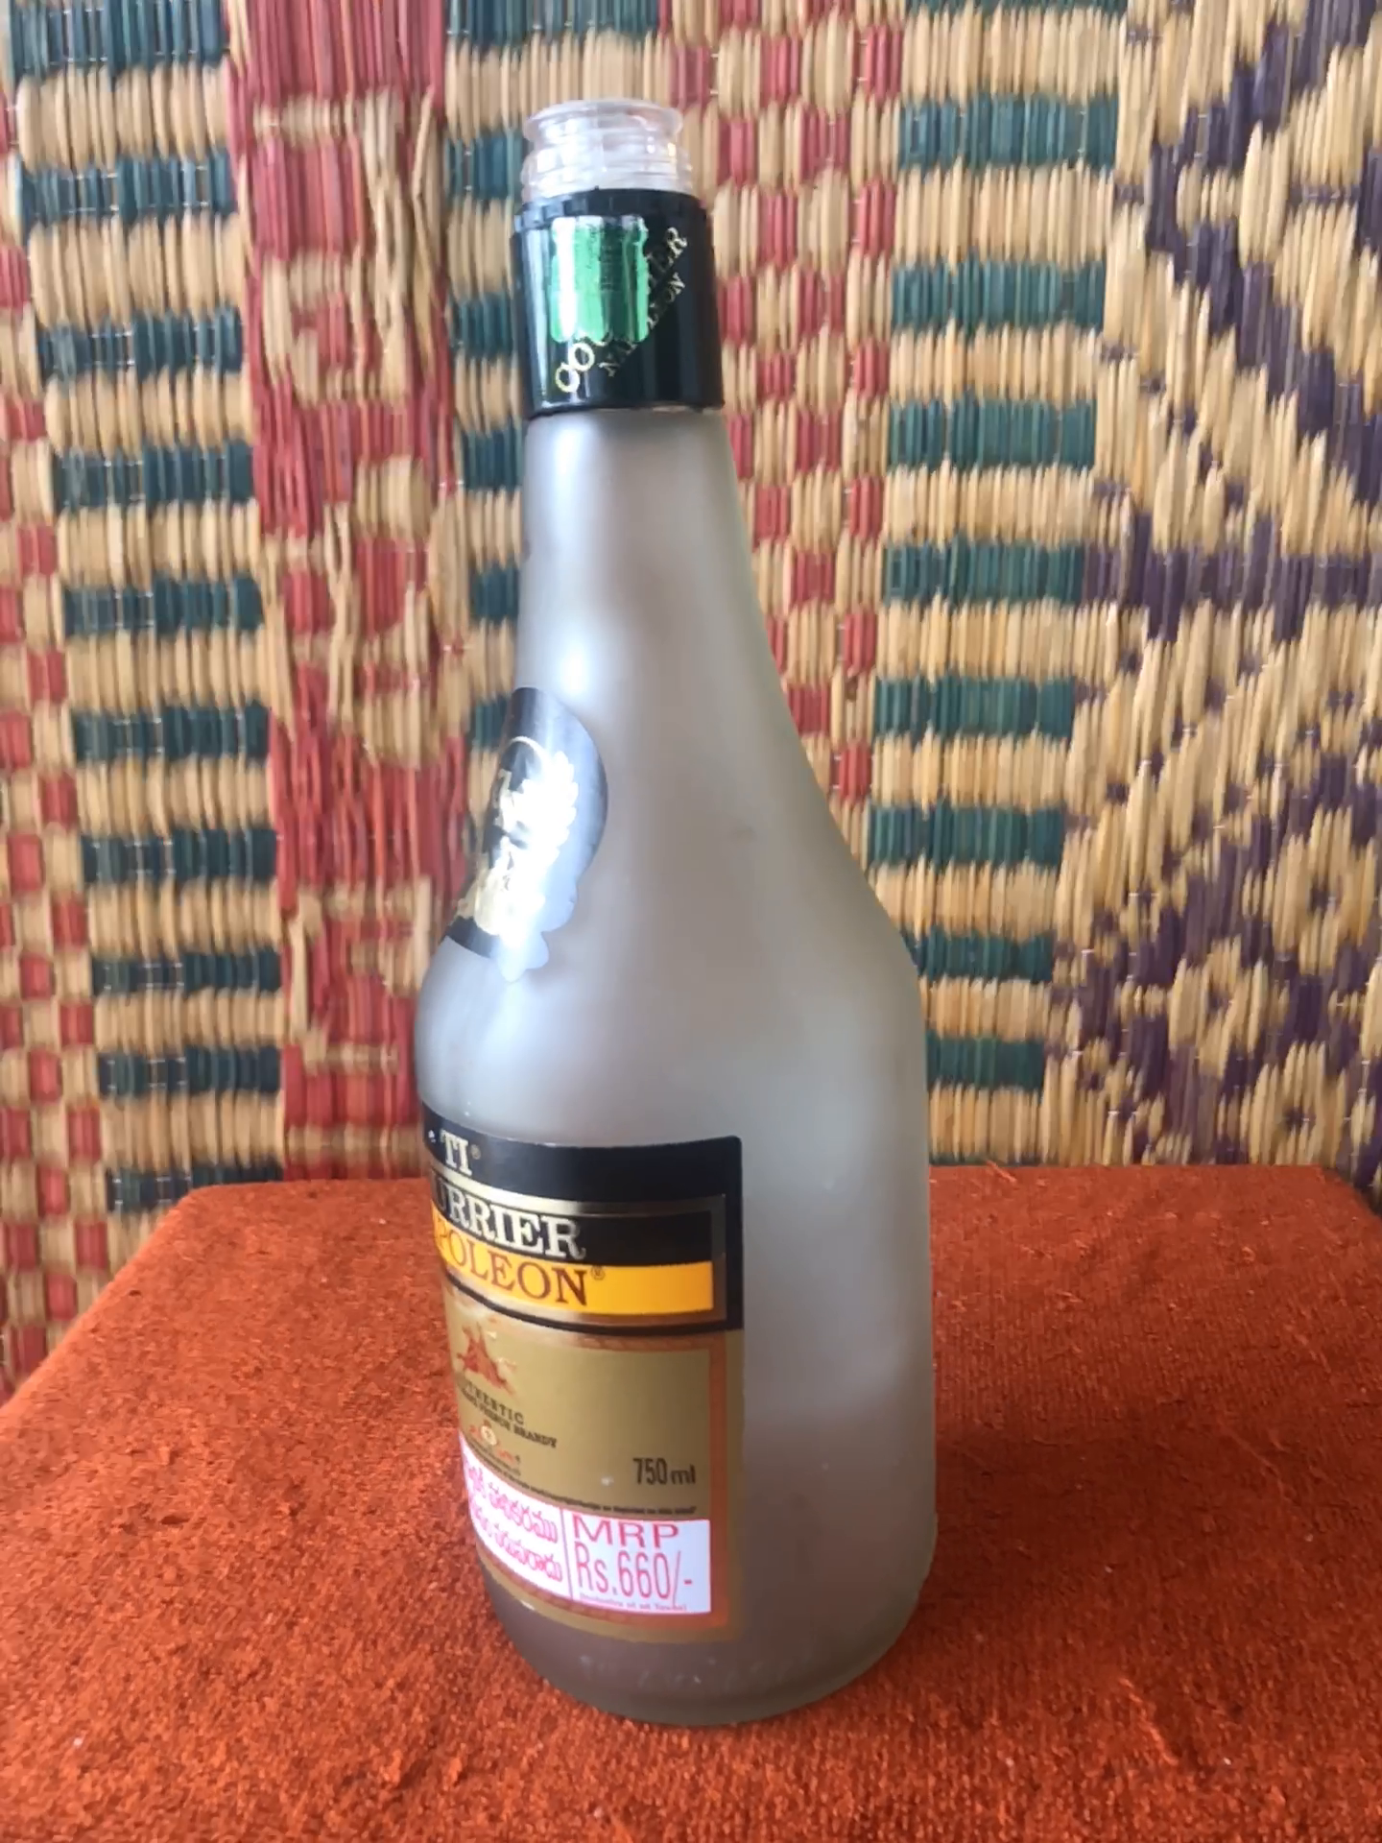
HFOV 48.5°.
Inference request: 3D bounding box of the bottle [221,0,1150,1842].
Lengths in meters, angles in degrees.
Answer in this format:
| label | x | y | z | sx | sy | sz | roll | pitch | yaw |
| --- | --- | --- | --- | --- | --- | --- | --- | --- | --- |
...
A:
| label | x | y | z | sx | sy | sz | roll | pitch | yaw |
| --- | --- | --- | --- | --- | --- | --- | --- | --- | --- |
| bottle | 0.000 | 0.002 | 0.249 | 0.090 | 0.249 | 0.100 | -13 | 19 | -33 |
